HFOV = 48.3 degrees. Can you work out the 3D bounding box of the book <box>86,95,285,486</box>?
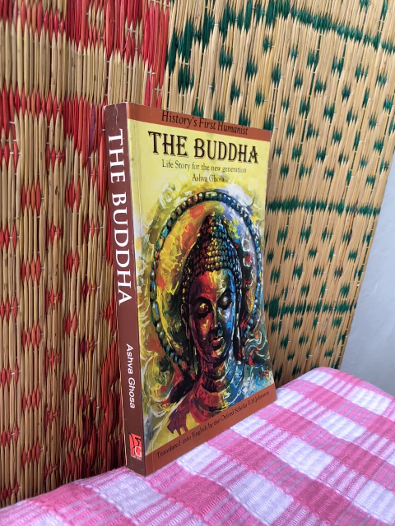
[{"bbox_3d":[0.004,0.010,0.293,0.030,0.206,0.146,2,7,43],"label":"book"}]
